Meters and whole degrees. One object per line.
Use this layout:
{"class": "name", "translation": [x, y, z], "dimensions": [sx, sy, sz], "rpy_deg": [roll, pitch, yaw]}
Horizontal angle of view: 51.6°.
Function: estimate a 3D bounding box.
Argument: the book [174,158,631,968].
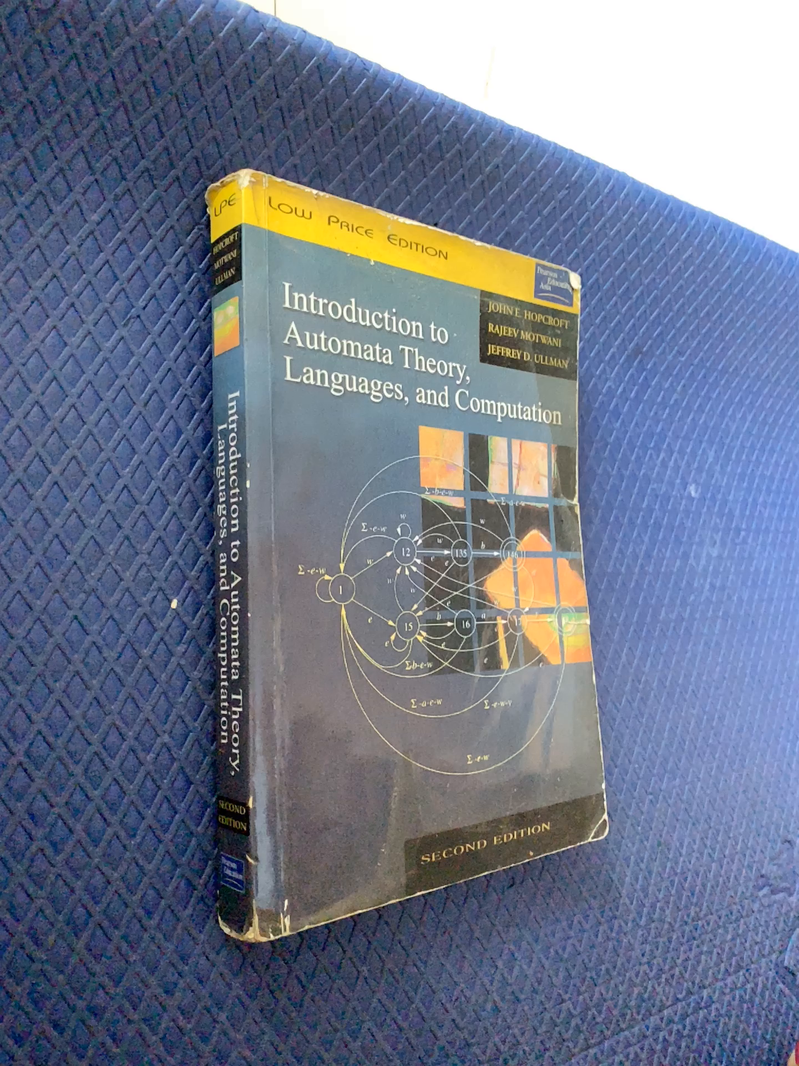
{"class": "book", "translation": [0.005, 0.006, 0.299], "dimensions": [0.151, 0.050, 0.230], "rpy_deg": [1, 82, -37]}
